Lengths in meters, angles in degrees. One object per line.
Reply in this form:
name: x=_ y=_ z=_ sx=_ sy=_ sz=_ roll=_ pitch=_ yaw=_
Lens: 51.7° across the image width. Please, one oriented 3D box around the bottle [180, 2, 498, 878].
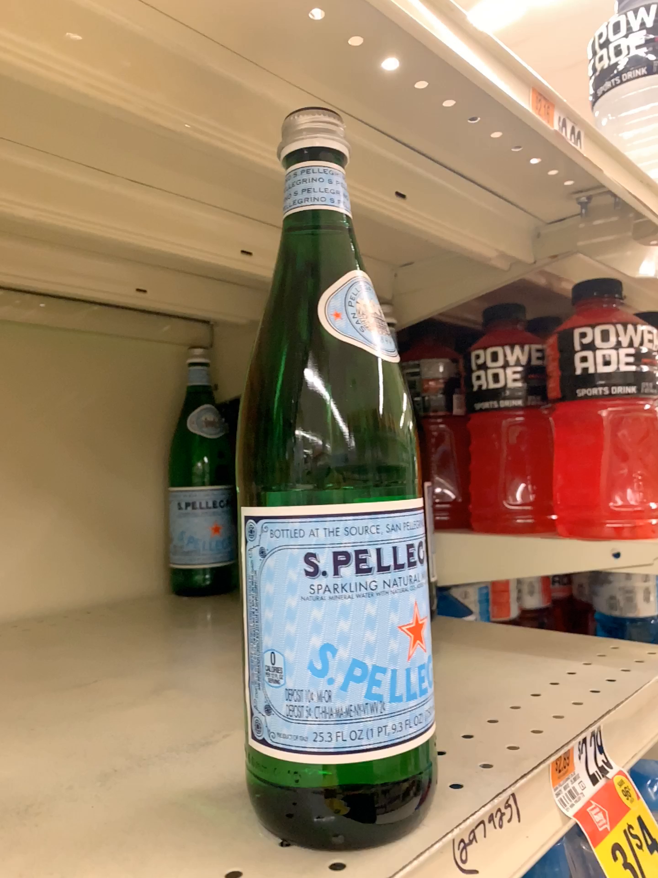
bottle: x=0.003 y=0.001 z=0.284 sx=0.090 sy=0.290 sz=0.090 roll=-1 pitch=-2 yaw=0
